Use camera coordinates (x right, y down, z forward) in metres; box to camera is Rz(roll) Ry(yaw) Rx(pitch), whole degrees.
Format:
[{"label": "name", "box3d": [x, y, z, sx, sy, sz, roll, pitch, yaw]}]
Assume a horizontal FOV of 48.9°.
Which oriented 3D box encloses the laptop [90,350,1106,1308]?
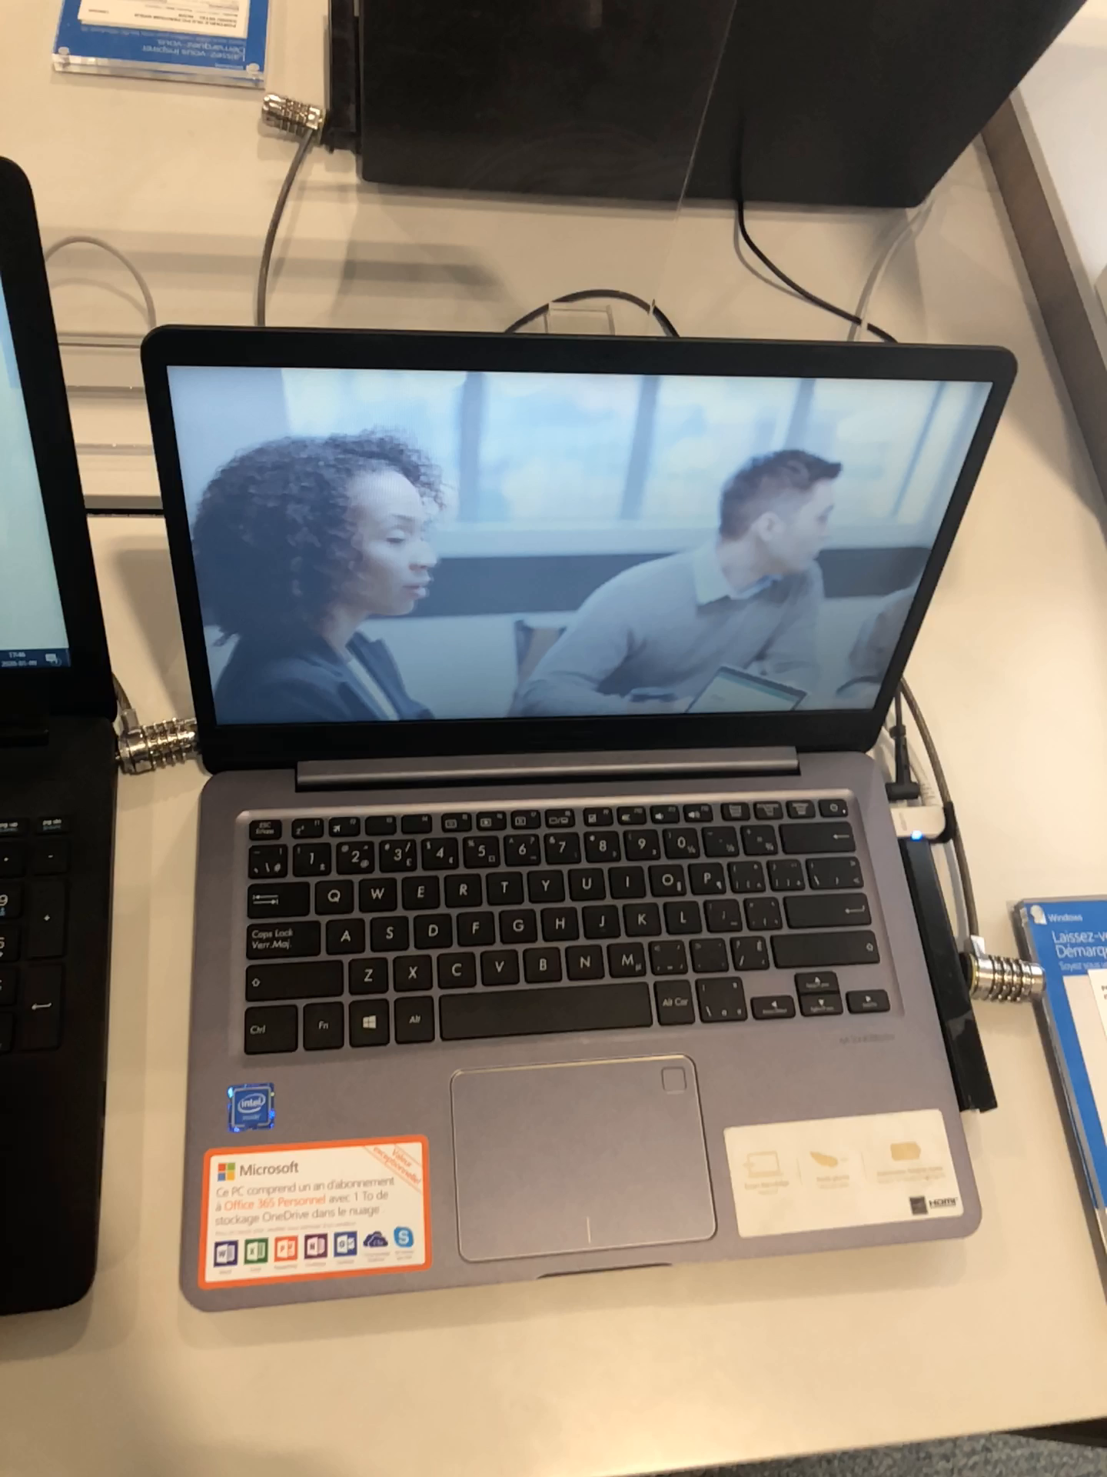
[{"label": "laptop", "box3d": [0.021, 0.035, 0.464, 0.316, 0.197, 0.291, -2, 64, -9]}]
